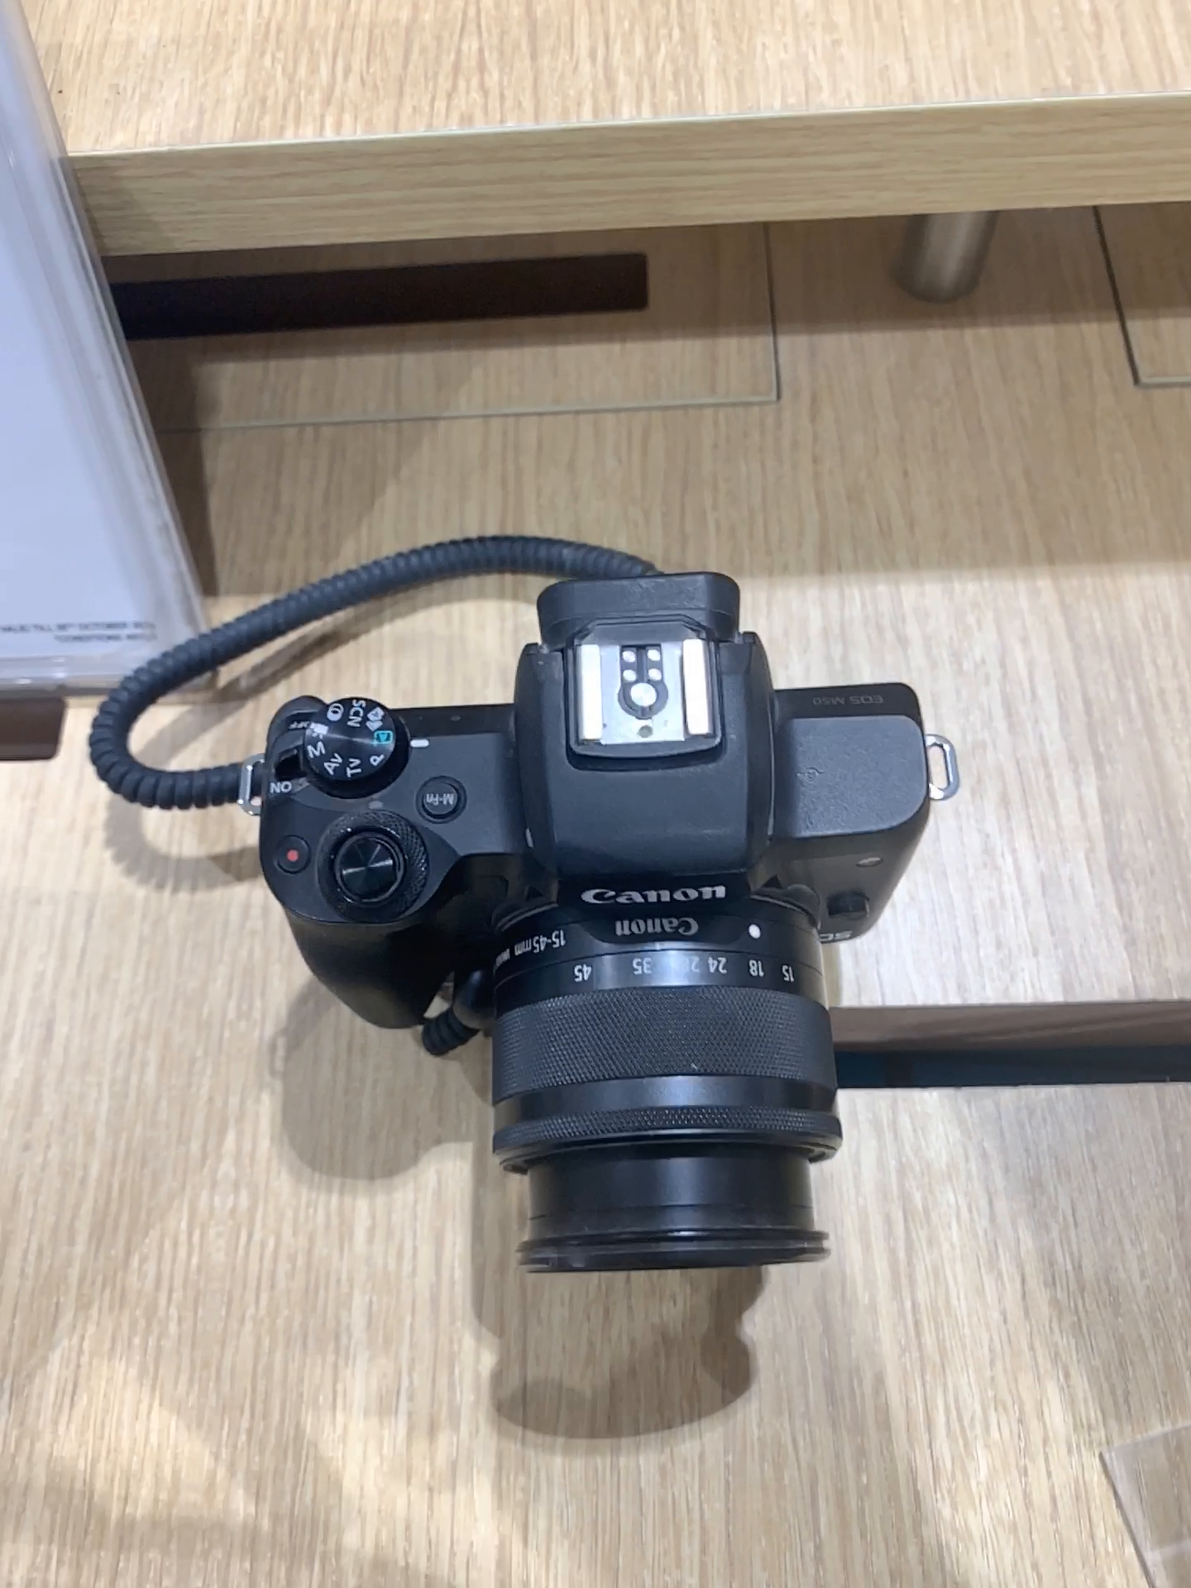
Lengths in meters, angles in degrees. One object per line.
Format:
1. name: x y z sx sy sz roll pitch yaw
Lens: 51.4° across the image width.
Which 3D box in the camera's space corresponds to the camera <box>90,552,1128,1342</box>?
1. camera: 0.001 0.034 0.209 0.120 0.100 0.100 -4 66 2
